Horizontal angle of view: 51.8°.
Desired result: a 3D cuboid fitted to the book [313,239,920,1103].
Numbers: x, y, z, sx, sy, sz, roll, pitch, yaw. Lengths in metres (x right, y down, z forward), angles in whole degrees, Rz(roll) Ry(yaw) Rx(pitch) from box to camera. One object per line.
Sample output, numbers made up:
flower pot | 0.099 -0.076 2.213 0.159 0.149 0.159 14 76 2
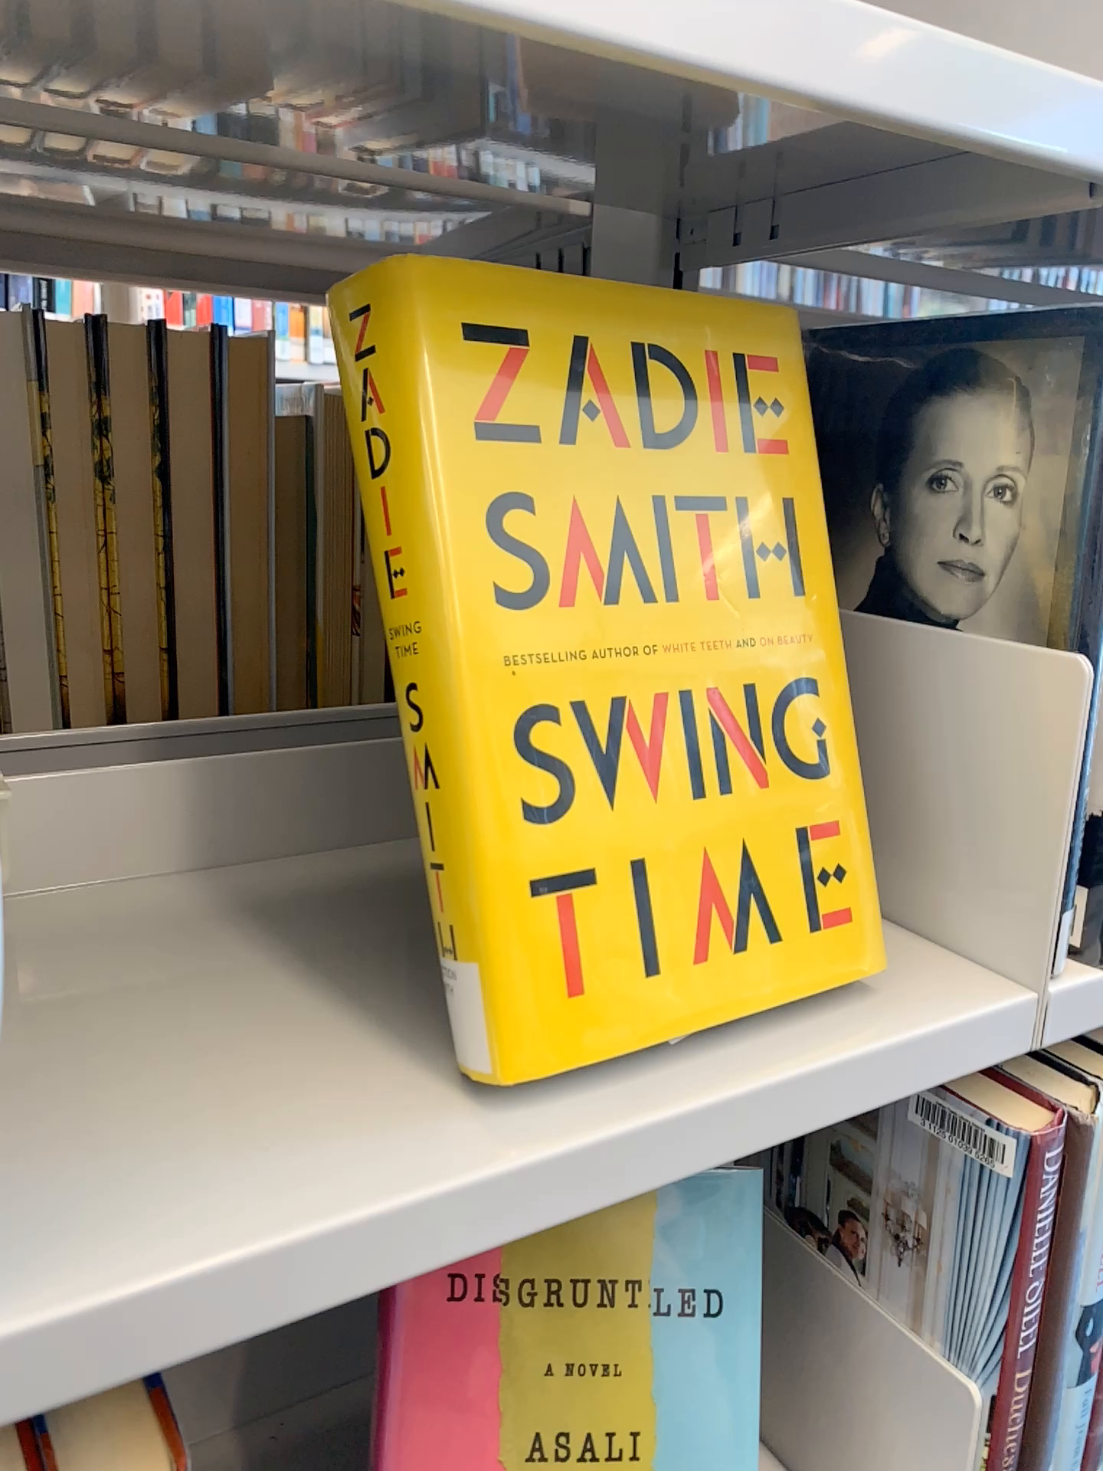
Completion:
book | 0.026 -0.024 0.373 0.168 0.233 0.060 -6 -2 -34
